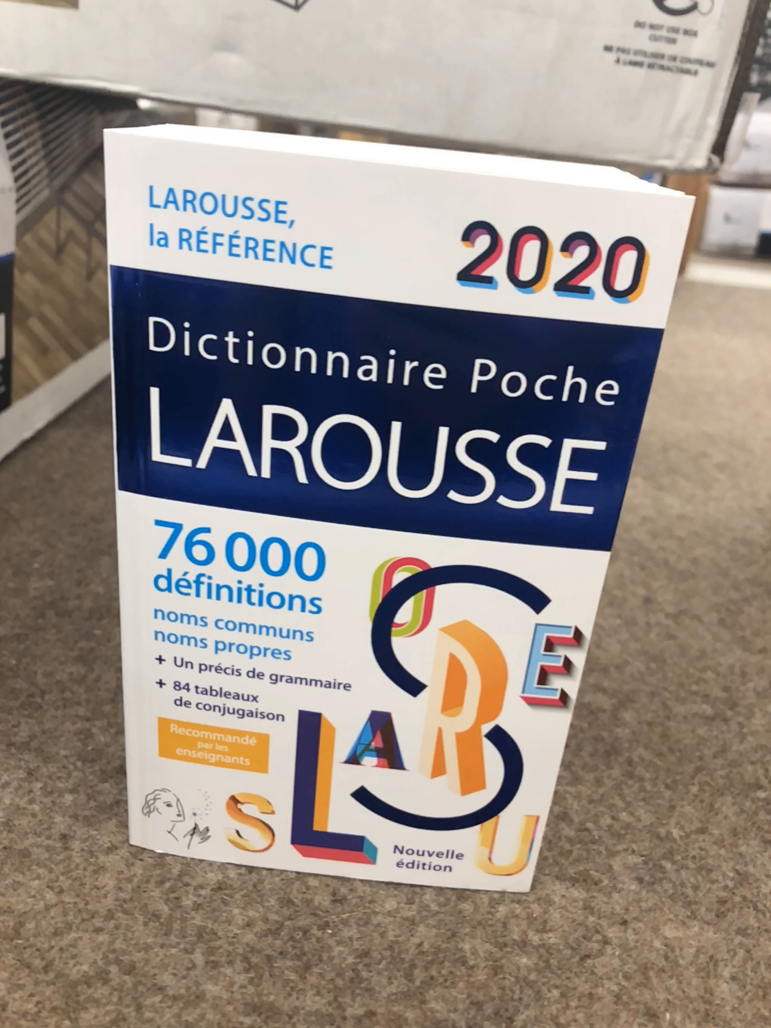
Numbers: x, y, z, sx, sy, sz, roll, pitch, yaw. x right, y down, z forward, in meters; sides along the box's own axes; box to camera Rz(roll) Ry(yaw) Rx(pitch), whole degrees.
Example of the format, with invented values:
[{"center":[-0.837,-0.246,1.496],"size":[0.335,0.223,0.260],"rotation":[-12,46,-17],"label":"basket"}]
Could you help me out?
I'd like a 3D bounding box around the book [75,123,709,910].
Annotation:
[{"center":[-0.005,0.004,0.214],"size":[0.111,0.173,0.062],"rotation":[6,25,1],"label":"book"}]
